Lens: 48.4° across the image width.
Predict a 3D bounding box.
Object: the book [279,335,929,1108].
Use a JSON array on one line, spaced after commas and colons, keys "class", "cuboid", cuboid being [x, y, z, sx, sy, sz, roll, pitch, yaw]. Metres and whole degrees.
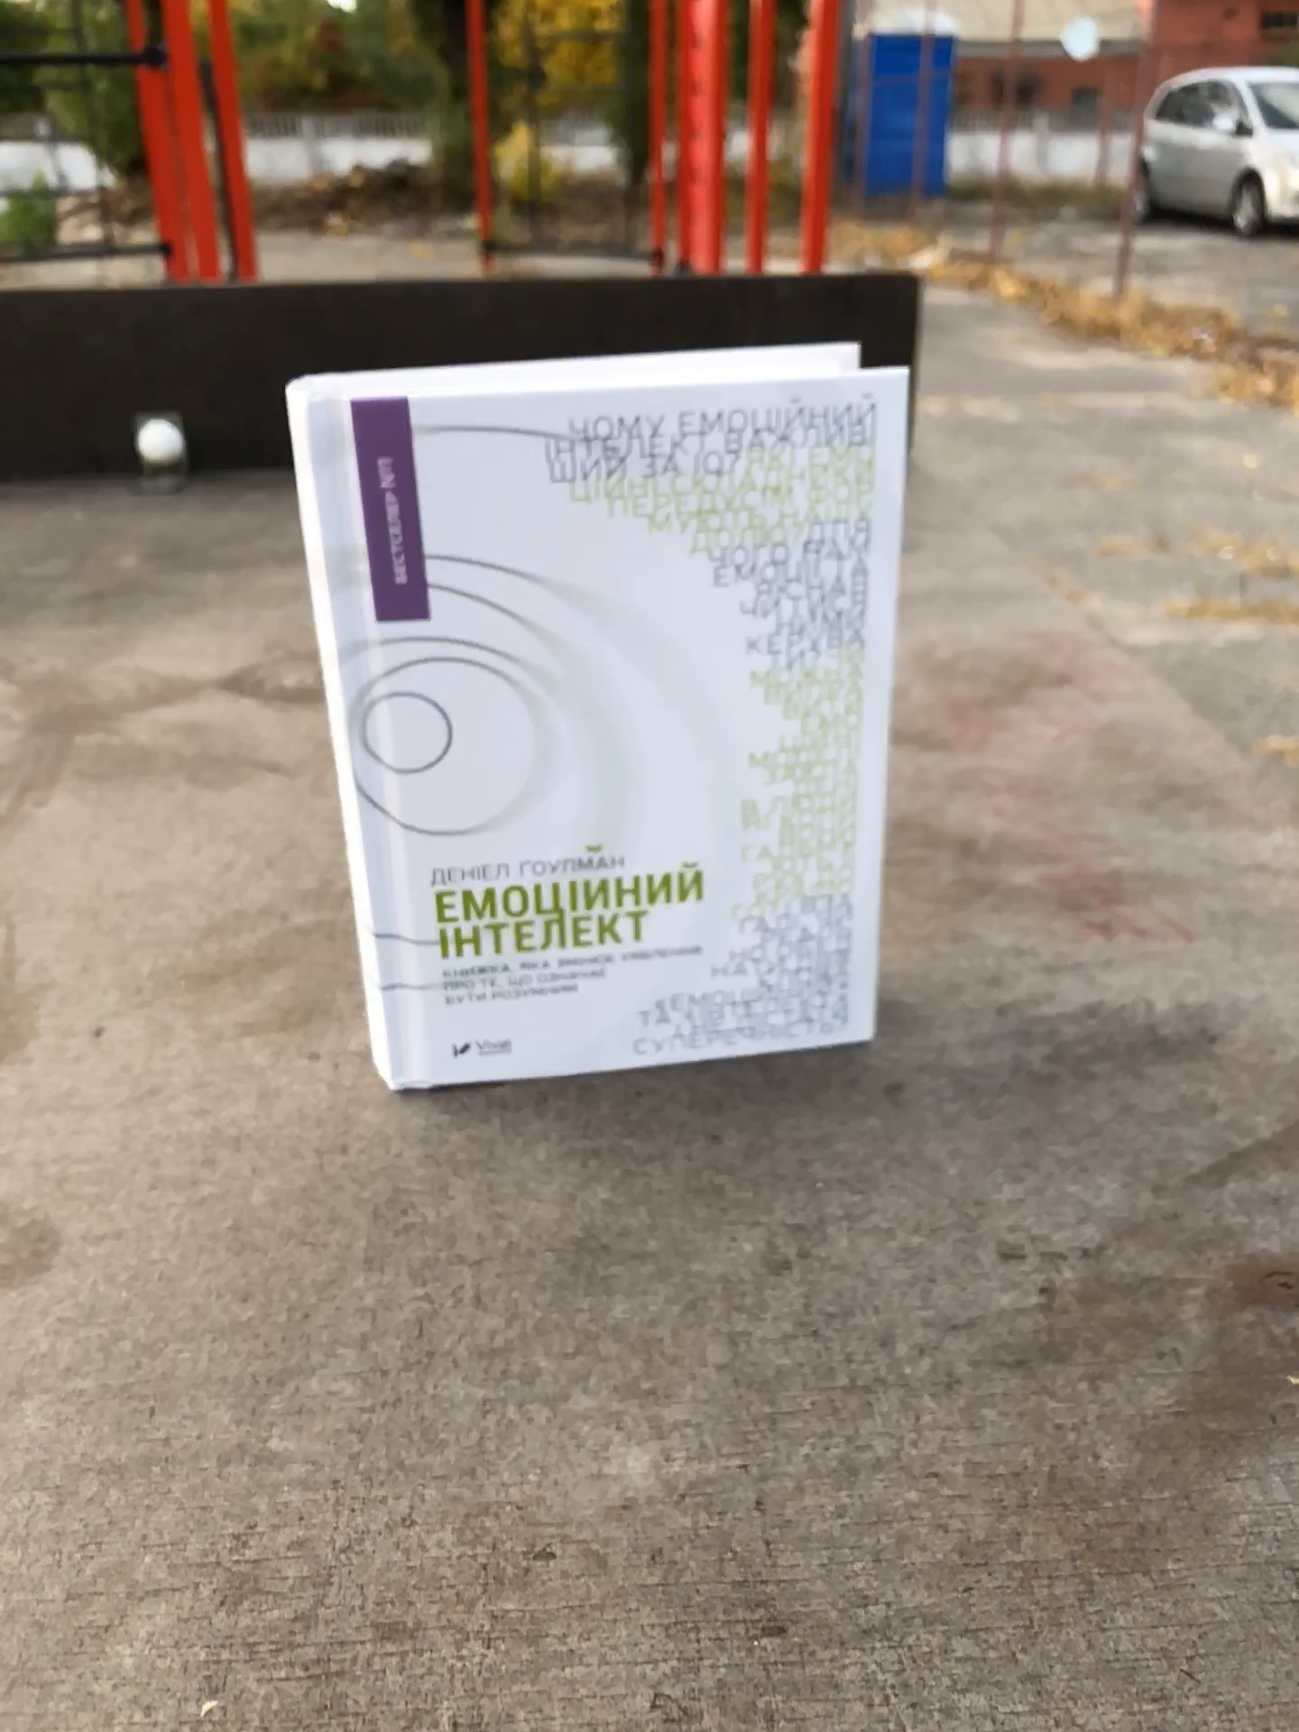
[{"class": "book", "cuboid": [-0.012, -0.039, 0.422, 0.160, 0.209, 0.050, -5, 27, -9]}]
